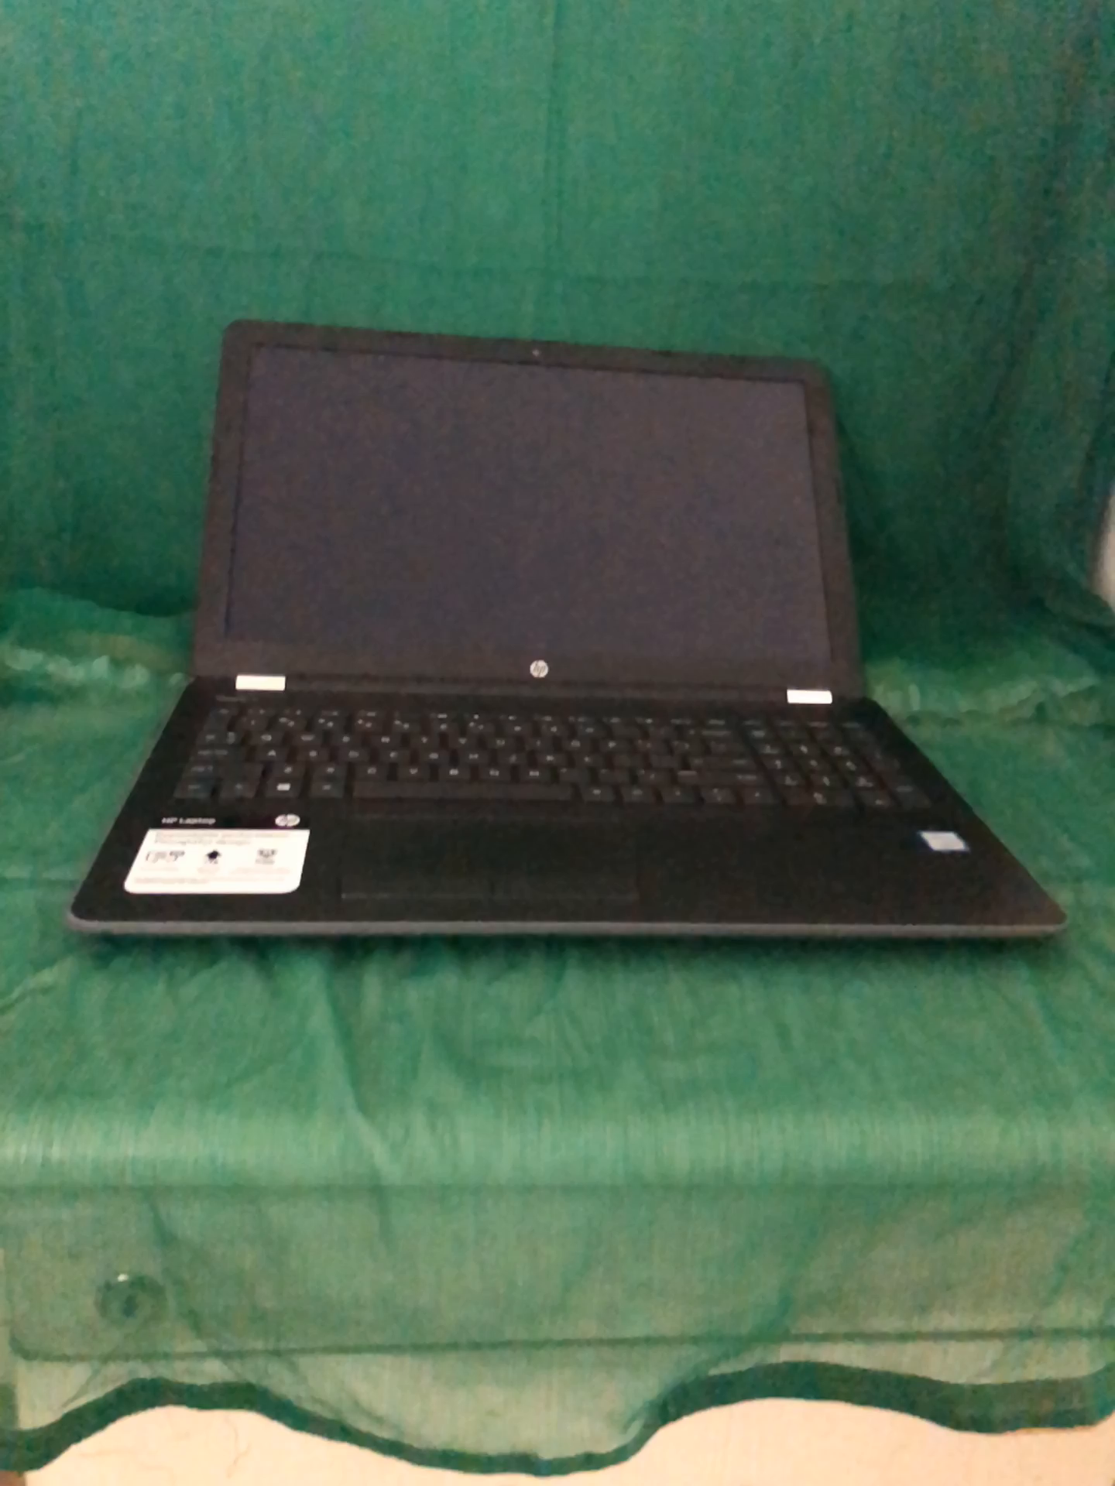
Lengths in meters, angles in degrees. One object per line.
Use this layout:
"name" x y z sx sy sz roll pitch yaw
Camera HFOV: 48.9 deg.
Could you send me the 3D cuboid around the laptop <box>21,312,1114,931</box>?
"laptop" 0.003 -0.096 0.616 0.378 0.179 0.416 1 23 -6
